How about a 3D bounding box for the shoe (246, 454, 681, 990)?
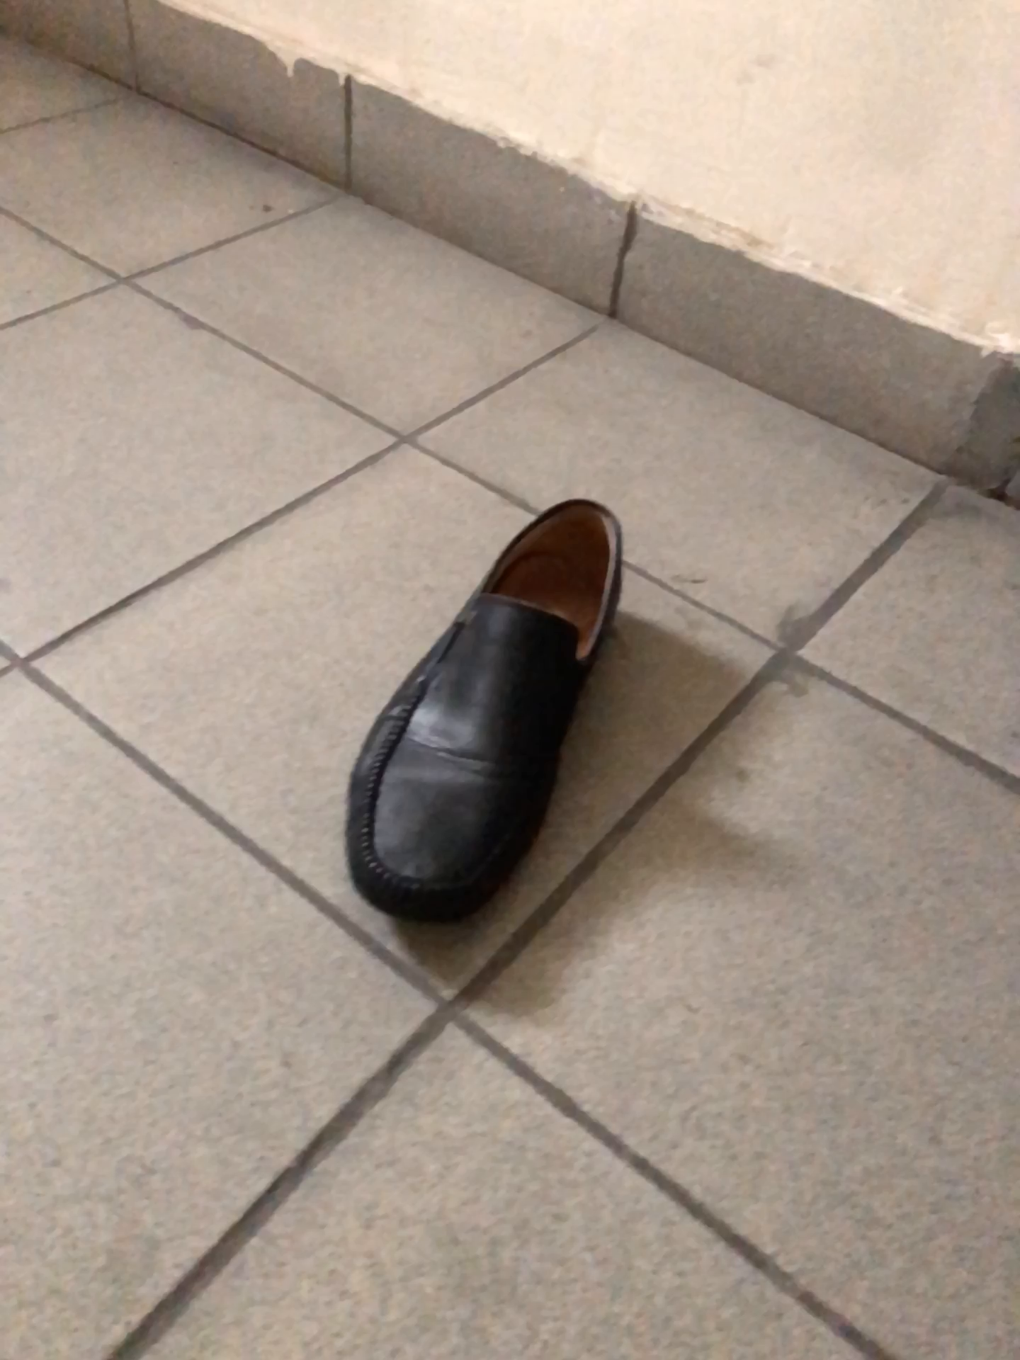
[{"bbox_3d":[-0.010,0.004,0.564,0.107,0.079,0.272,20,47,12],"label":"shoe"}]
